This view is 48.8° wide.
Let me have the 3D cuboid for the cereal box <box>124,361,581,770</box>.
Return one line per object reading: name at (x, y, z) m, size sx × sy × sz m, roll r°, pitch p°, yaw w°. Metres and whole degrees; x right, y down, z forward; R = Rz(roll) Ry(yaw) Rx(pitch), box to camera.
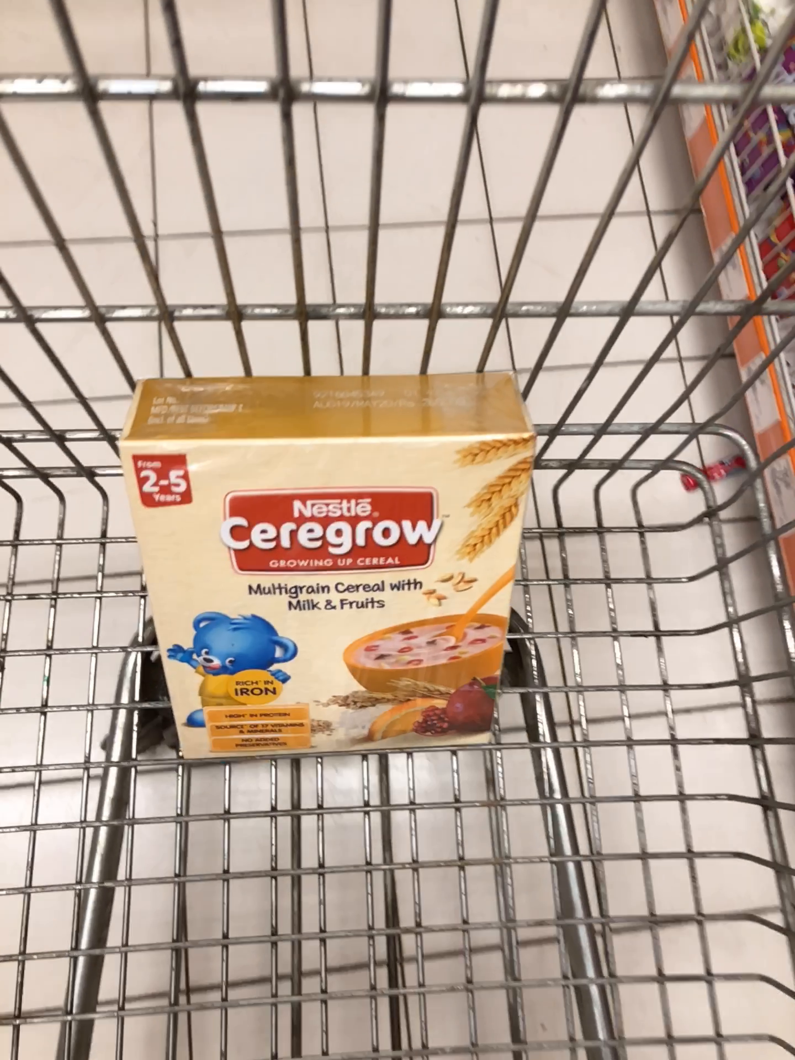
cereal box at (-0.019, 0.024, 0.386) m, size 0.160 × 0.190 × 0.050 m, roll -2°, pitch 40°, yaw -5°
